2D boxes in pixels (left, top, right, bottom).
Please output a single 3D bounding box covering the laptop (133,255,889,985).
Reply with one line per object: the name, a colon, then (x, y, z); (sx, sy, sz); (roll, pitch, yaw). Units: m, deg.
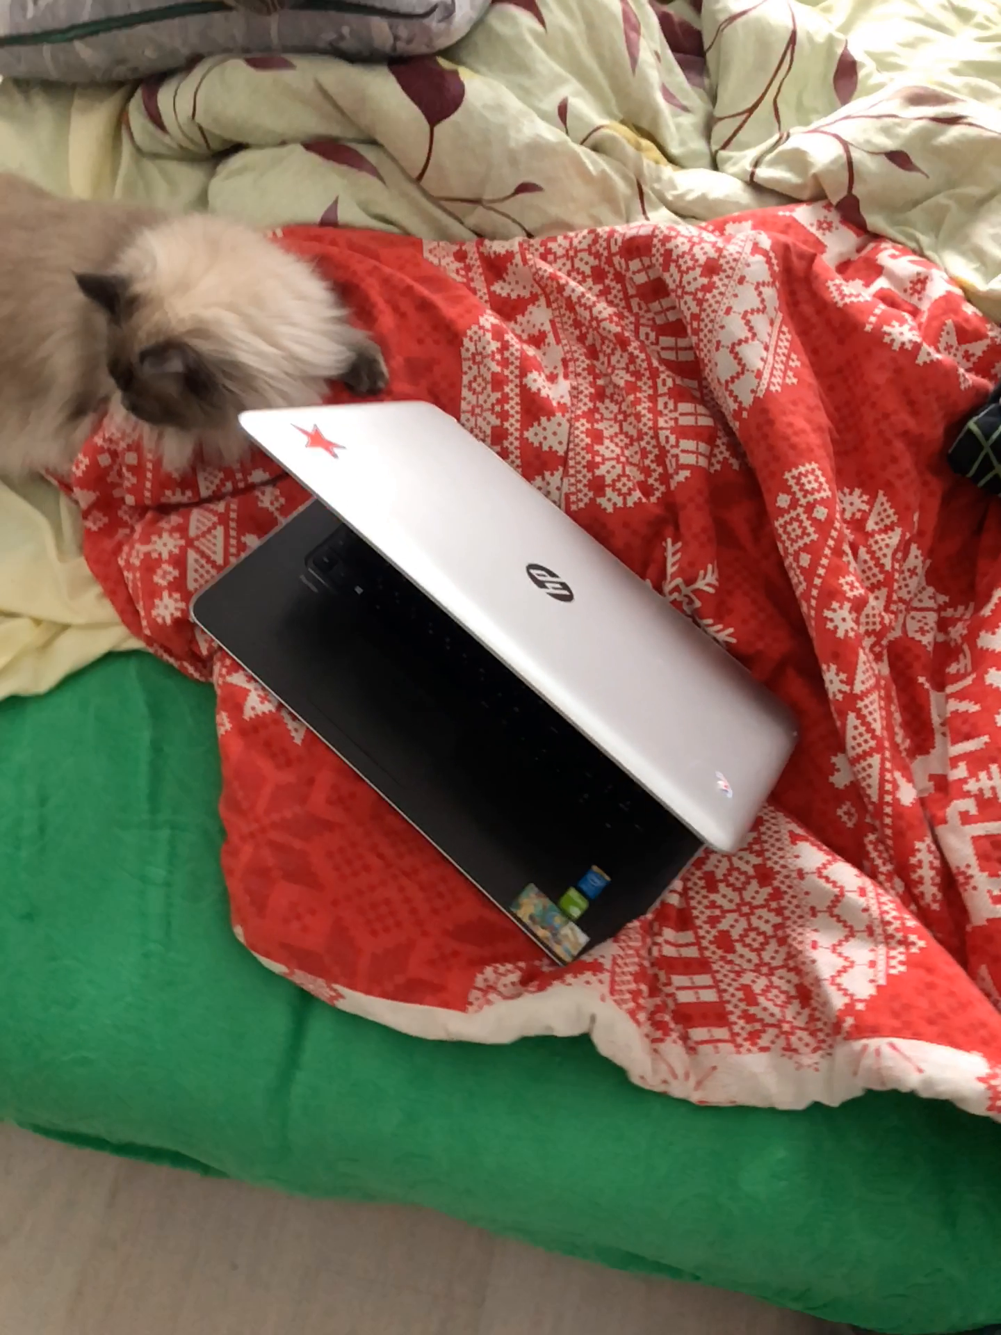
laptop: (0.006, -0.035, 0.794); (0.414, 0.176, 0.276); (42, 70, 11)
